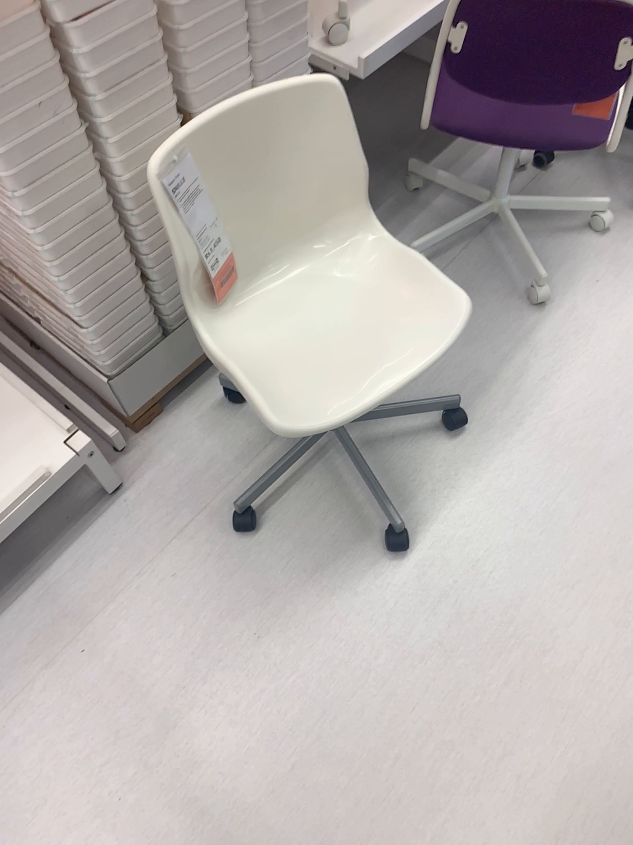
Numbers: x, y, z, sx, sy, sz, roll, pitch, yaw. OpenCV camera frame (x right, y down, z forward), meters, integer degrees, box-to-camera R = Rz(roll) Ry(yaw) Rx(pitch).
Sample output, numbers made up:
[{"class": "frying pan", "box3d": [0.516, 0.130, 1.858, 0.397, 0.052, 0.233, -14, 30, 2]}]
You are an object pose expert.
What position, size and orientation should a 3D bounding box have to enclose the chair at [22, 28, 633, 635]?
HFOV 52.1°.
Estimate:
[{"class": "chair", "box3d": [0.024, -0.150, 1.248, 0.640, 0.688, 0.681, -37, 64, -17]}]
